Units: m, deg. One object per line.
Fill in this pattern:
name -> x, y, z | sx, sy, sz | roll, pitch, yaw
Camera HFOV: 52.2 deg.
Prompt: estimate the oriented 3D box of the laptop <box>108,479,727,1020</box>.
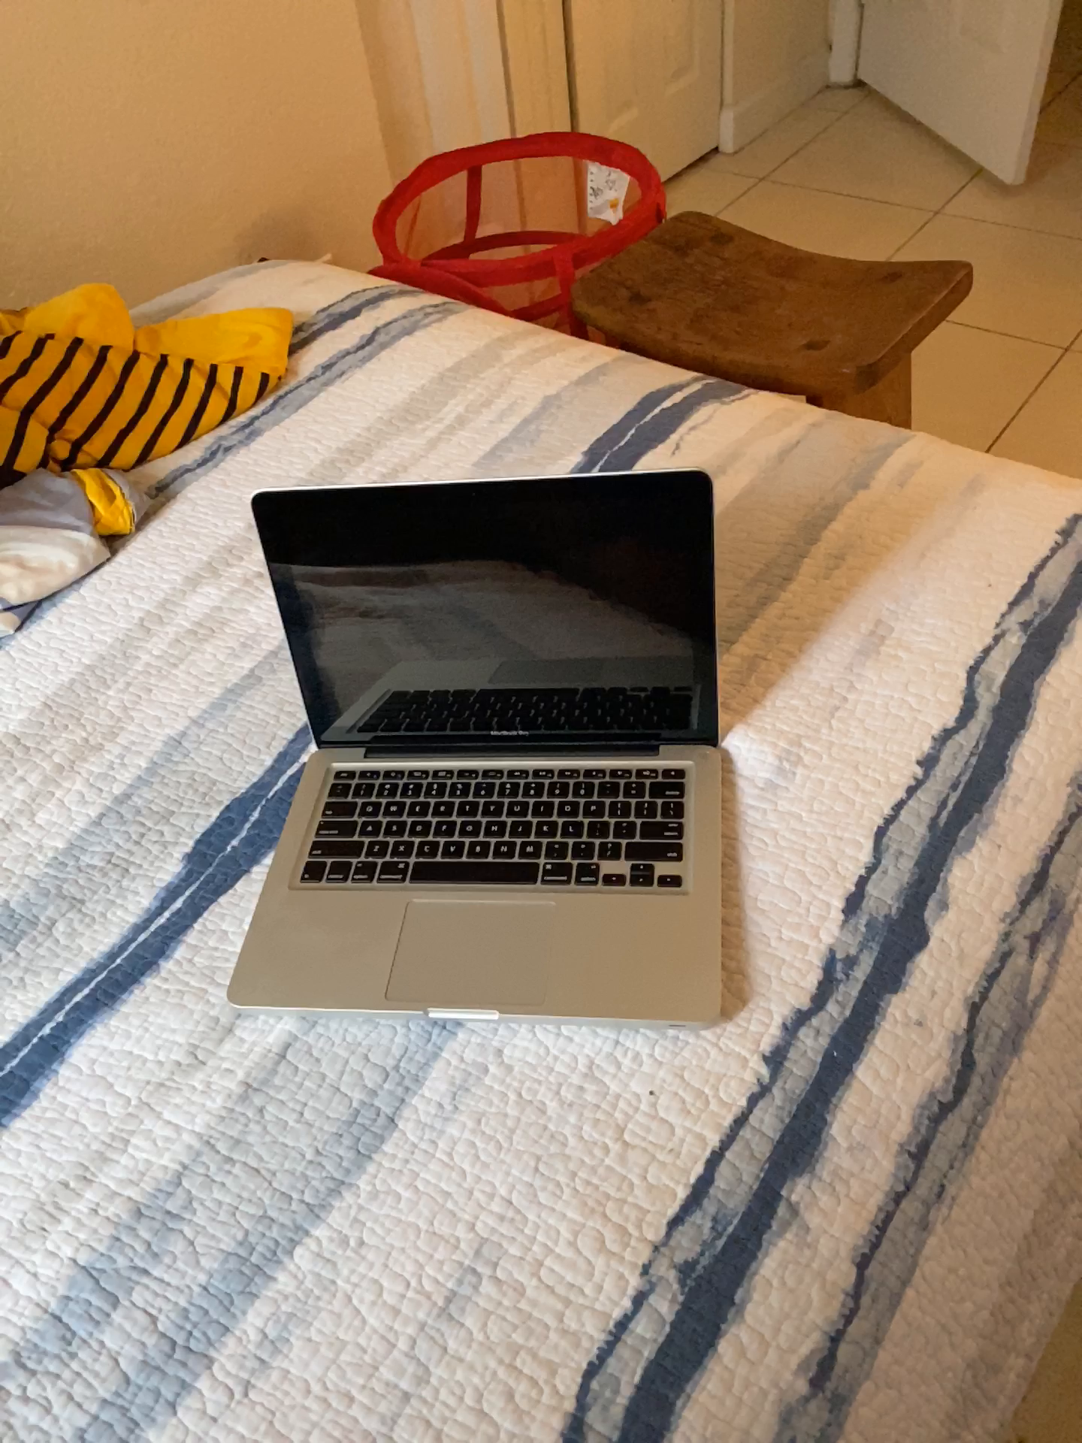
laptop -> -0.045, 0.013, 0.716 | 0.318, 0.199, 0.279 | -1, 46, 9
